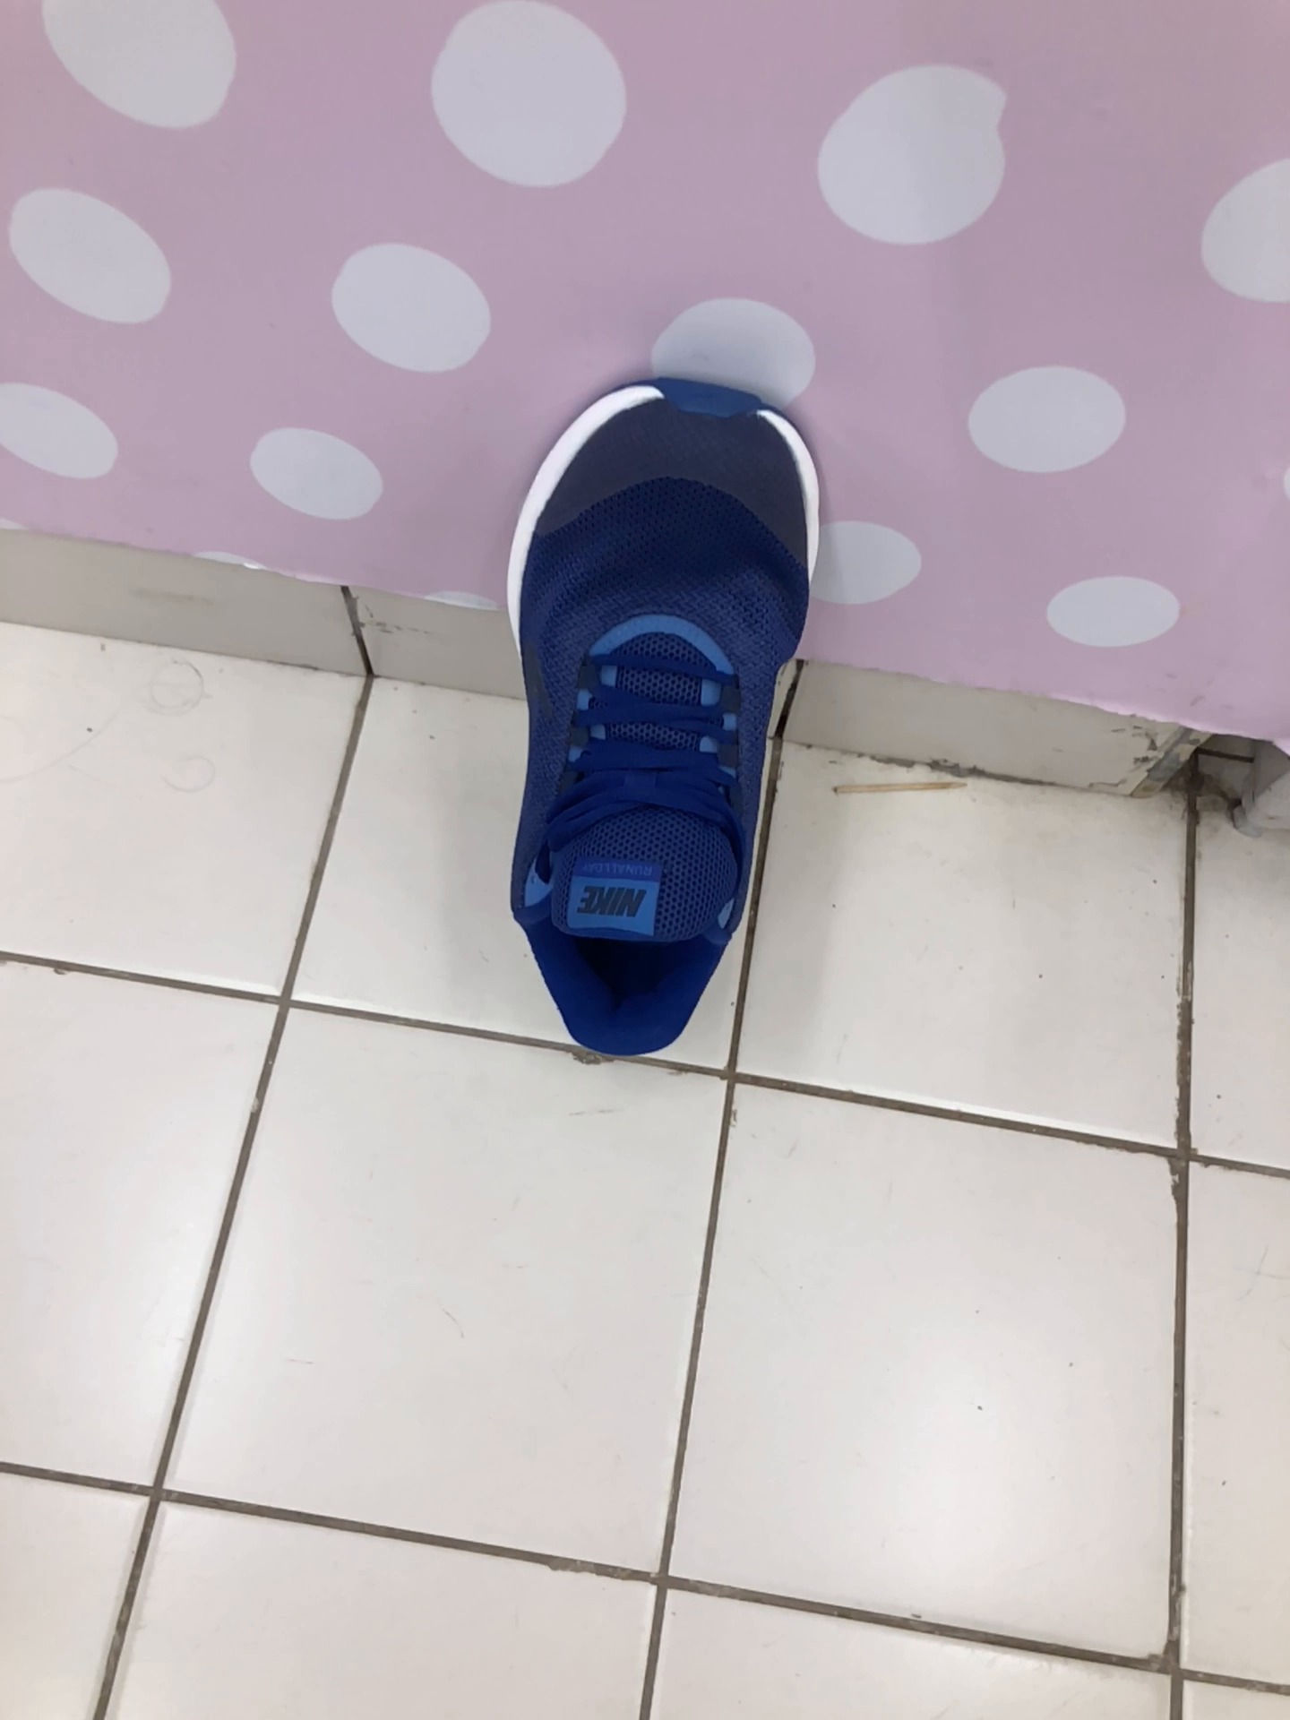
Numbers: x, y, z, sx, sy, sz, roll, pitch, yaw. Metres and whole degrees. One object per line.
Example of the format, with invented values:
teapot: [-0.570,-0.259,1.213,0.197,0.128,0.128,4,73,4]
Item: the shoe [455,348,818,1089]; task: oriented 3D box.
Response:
shoe: [-0.008,-0.051,0.525,0.100,0.239,0.110,6,26,-1]
